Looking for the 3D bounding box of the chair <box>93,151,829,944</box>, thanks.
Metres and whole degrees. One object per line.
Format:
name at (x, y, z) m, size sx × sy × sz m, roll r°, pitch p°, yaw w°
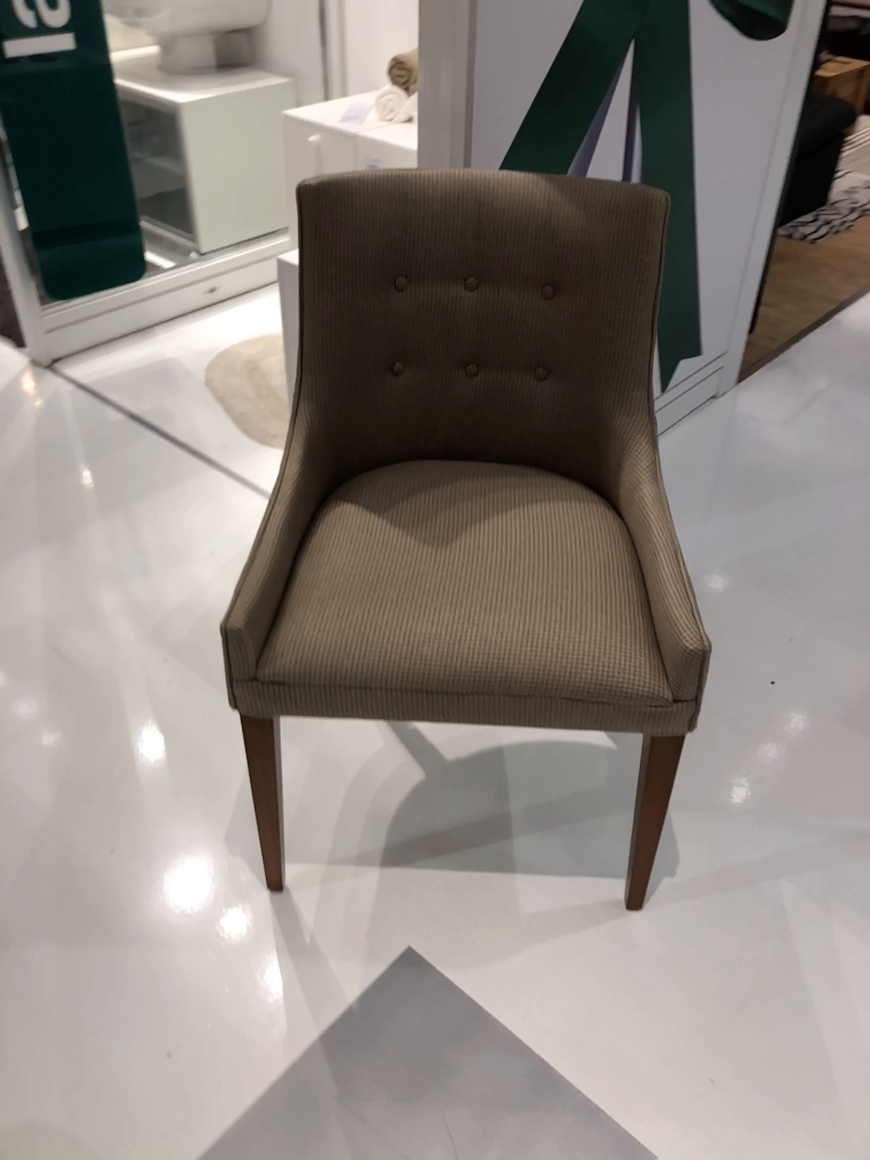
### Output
chair at (0.034, -0.045, 1.240) m, size 0.590 × 0.794 × 0.595 m, roll 4°, pitch 38°, yaw 3°
